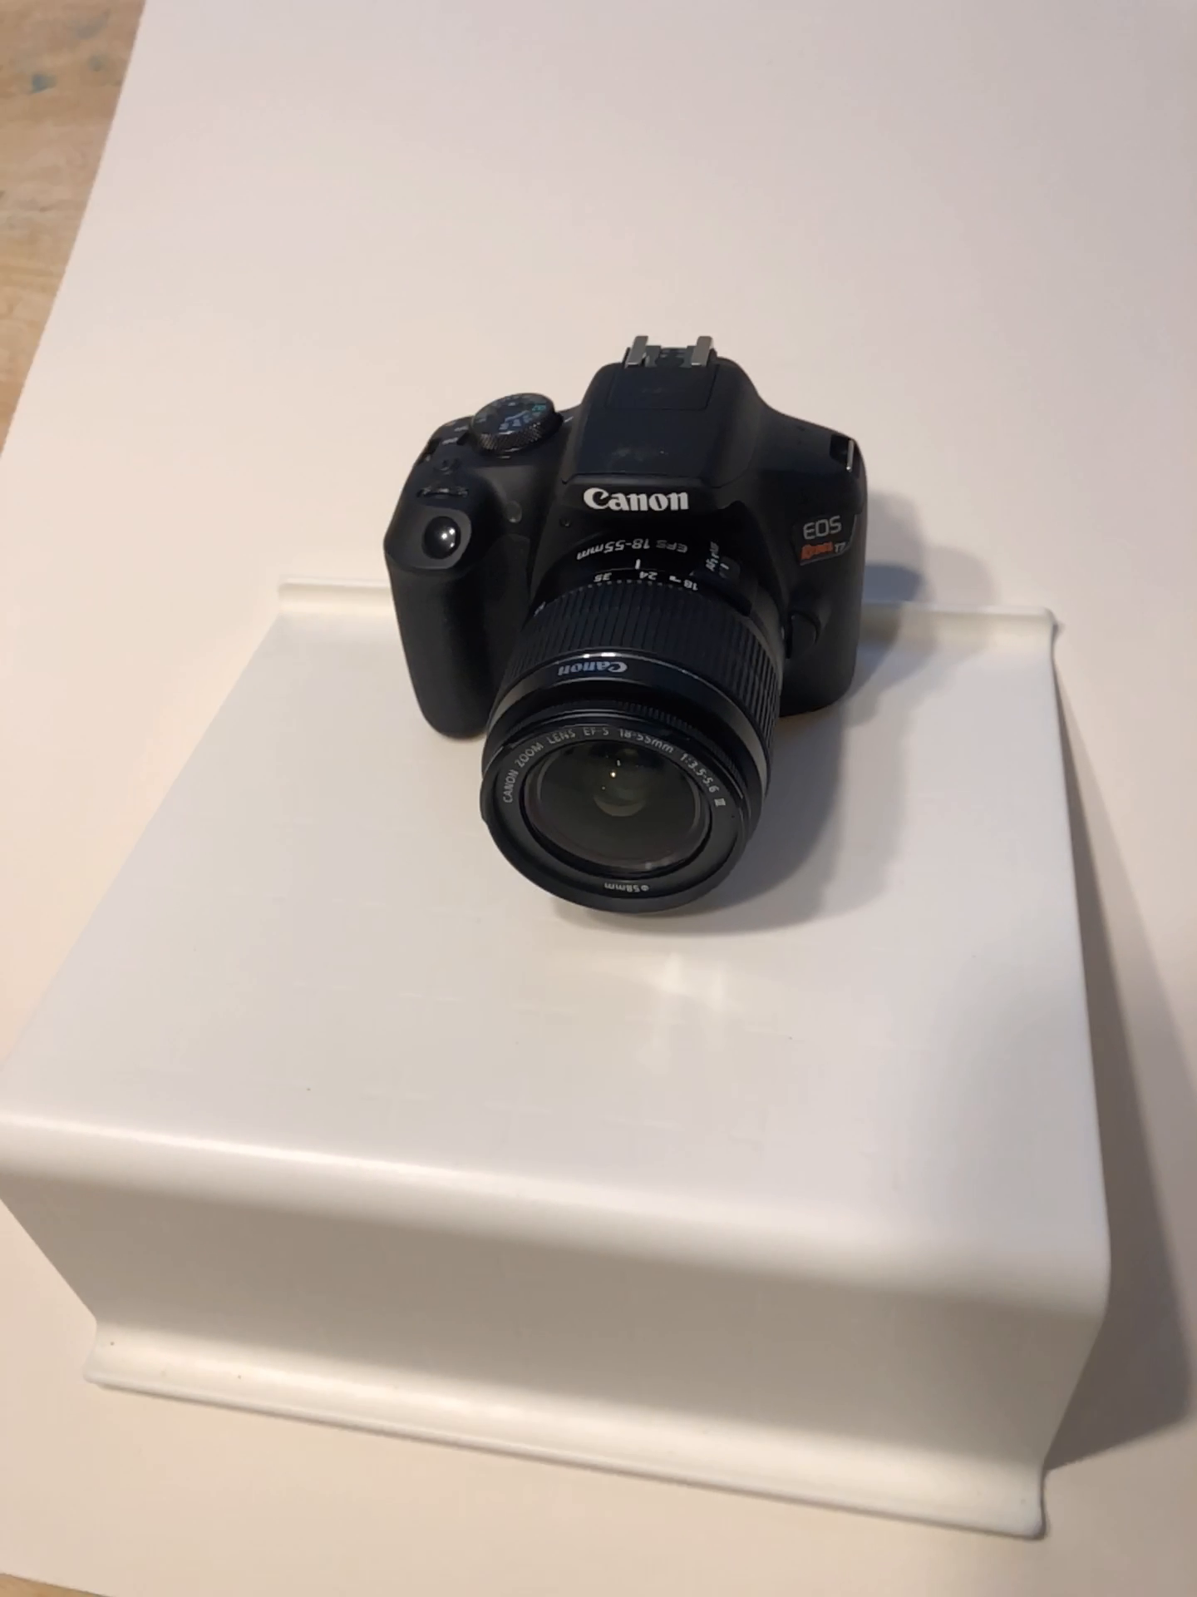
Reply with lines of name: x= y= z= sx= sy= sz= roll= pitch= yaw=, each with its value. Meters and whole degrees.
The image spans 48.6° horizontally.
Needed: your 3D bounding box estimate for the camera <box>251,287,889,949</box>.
camera: x=0.006 y=-0.054 z=0.346 sx=0.125 sy=0.104 sz=0.140 roll=5 pitch=42 yaw=10
